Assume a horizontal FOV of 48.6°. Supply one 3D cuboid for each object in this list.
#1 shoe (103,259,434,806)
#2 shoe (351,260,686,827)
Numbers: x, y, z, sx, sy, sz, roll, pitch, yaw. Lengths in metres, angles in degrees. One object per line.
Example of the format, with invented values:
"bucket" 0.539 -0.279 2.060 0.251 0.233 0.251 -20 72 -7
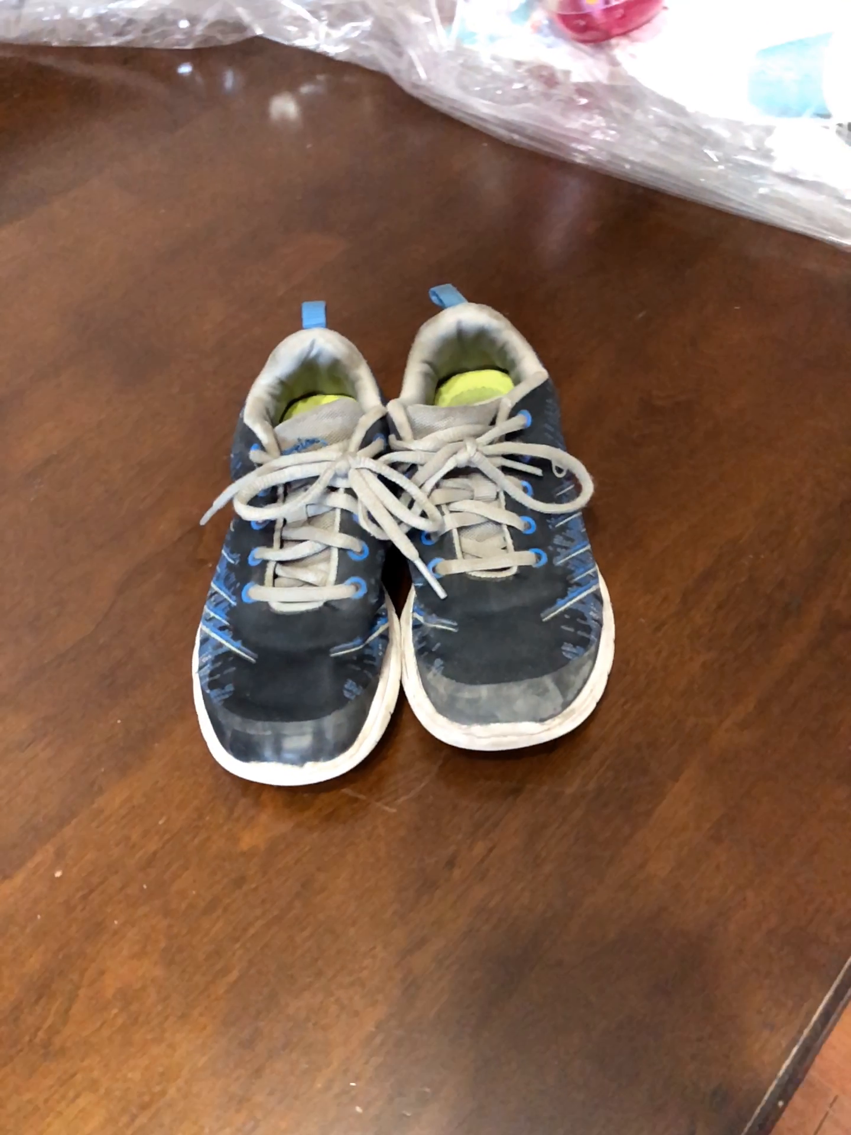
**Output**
"shoe" -0.049 -0.022 0.399 0.100 0.090 0.221 -1 54 3
"shoe" 0.027 -0.020 0.410 0.100 0.090 0.231 -6 54 0
